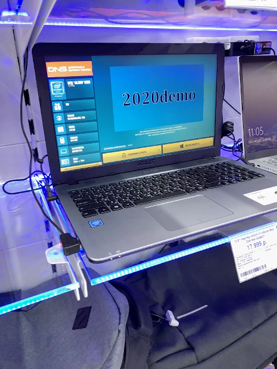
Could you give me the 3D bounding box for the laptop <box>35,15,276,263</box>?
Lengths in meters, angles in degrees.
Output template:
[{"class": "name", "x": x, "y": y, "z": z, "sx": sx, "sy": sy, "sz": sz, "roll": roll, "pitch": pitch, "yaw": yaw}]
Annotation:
[{"class": "laptop", "x": 0.065, "y": -0.102, "z": 0.446, "sx": 0.372, "sy": 0.232, "sz": 0.263, "roll": -11, "pitch": 23, "yaw": -22}]
